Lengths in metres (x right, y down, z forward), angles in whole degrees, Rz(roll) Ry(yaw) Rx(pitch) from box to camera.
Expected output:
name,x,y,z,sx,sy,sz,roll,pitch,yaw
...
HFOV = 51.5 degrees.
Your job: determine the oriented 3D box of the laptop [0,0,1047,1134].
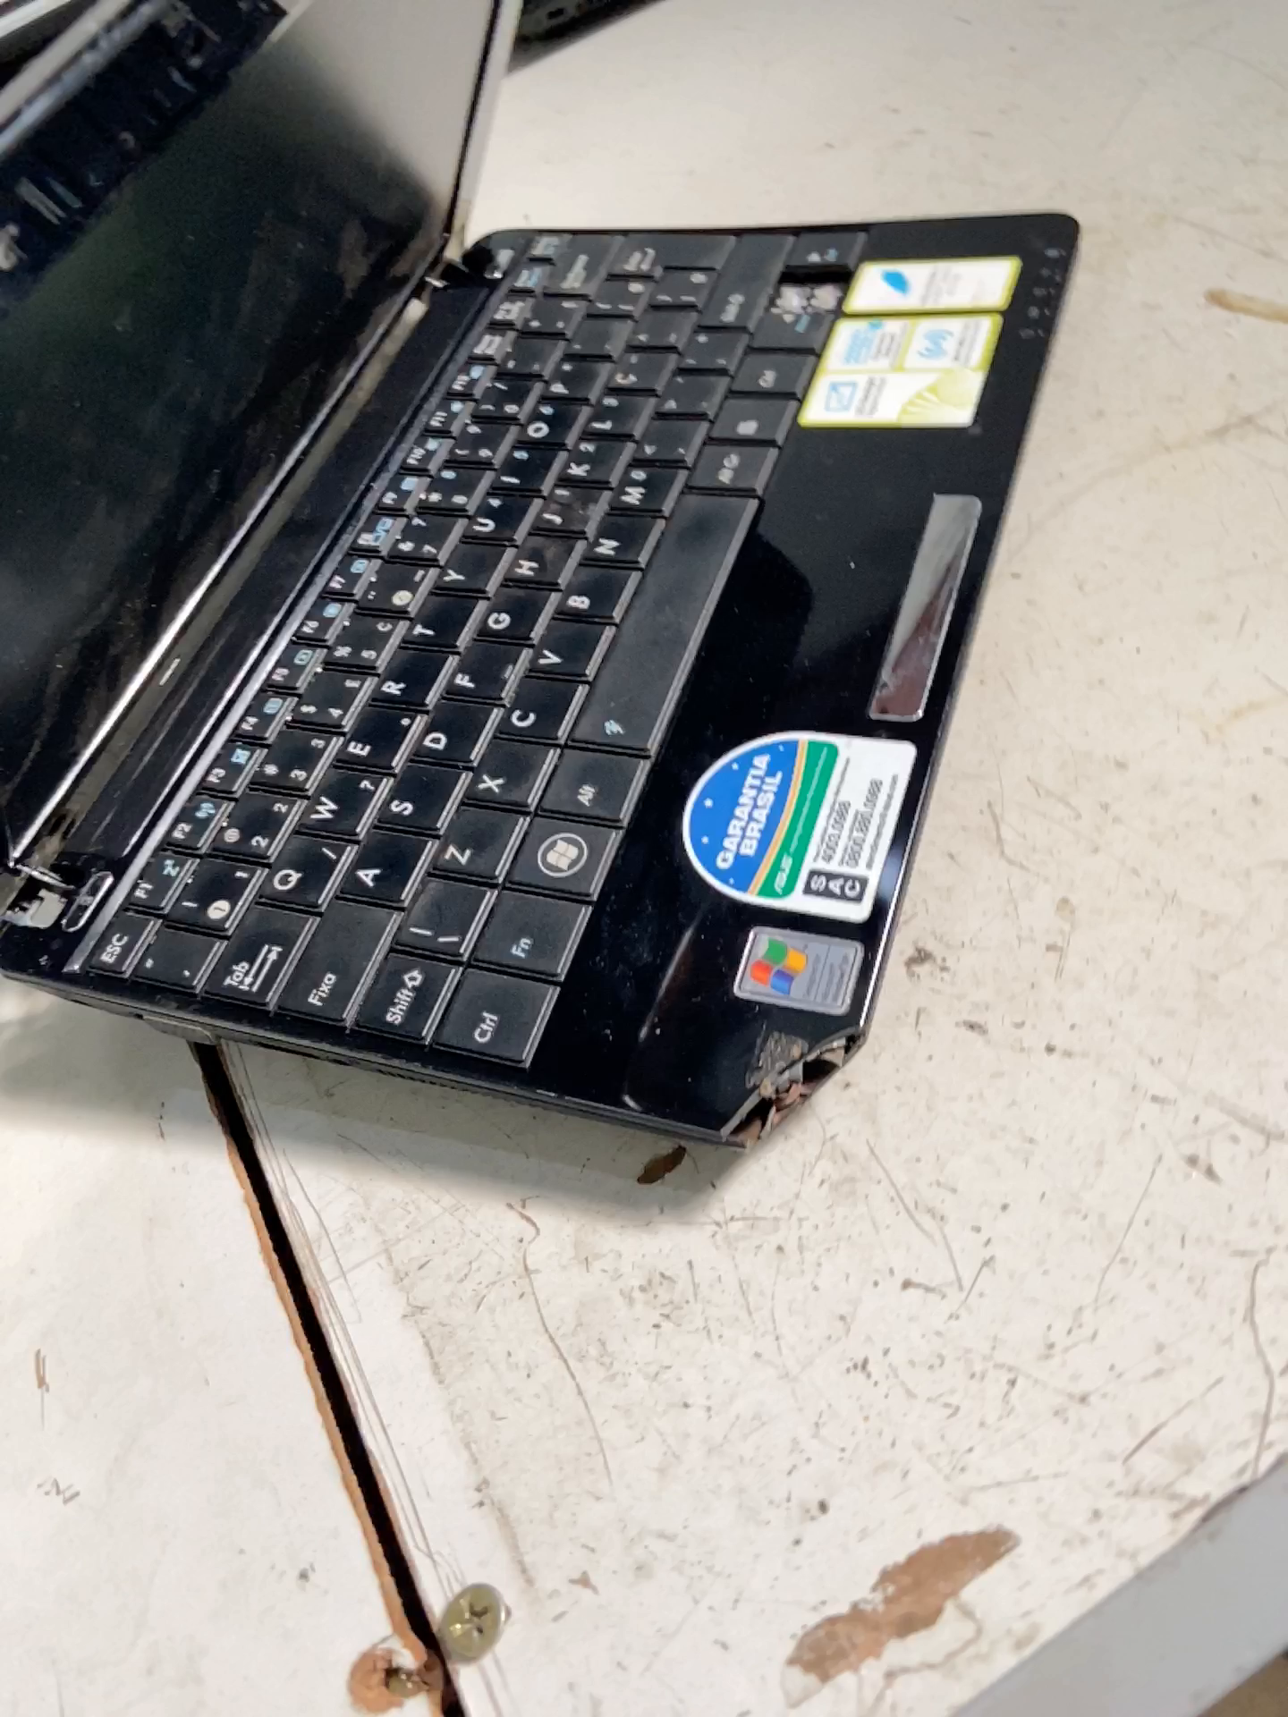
name,x,y,z,sx,sy,sz,roll,pitch,yaw
laptop,-0.037,-0.112,0.257,0.167,0.137,0.263,9,57,23
